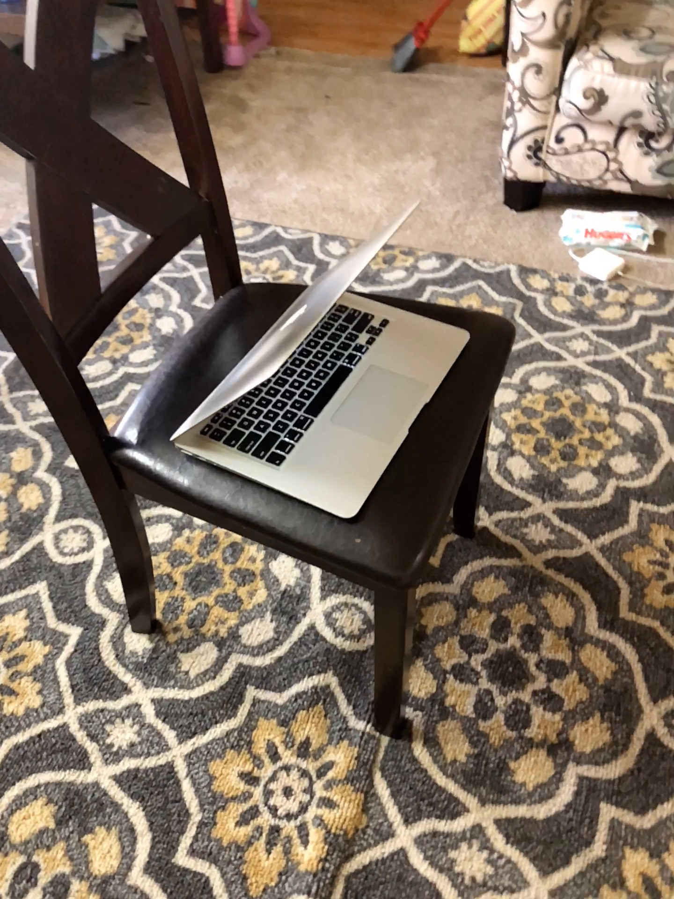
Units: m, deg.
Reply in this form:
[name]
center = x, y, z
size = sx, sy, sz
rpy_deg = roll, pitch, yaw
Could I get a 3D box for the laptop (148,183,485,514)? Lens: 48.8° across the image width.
[laptop]
center = -0.006, -0.124, 0.797
size = 0.216, 0.154, 0.304
rpy_deg = 20, 51, 21
